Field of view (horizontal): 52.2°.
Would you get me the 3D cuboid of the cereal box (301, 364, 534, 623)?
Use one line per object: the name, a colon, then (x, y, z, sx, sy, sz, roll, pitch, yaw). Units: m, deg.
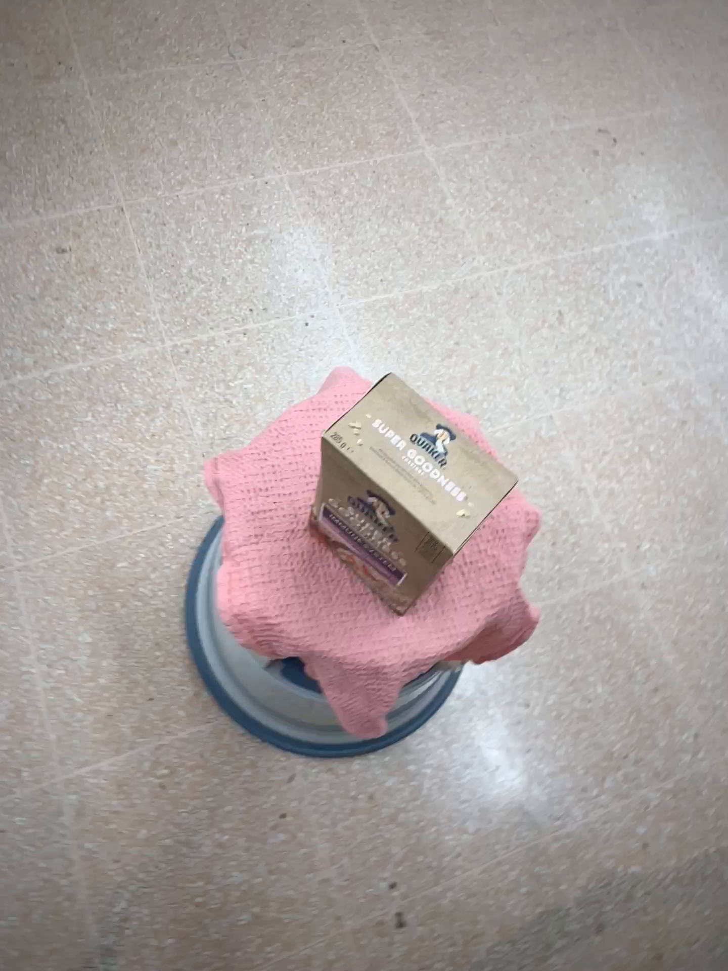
cereal box: (0.031, 0.019, 0.624, 0.130, 0.209, 0.090, 41, 69, 8)
